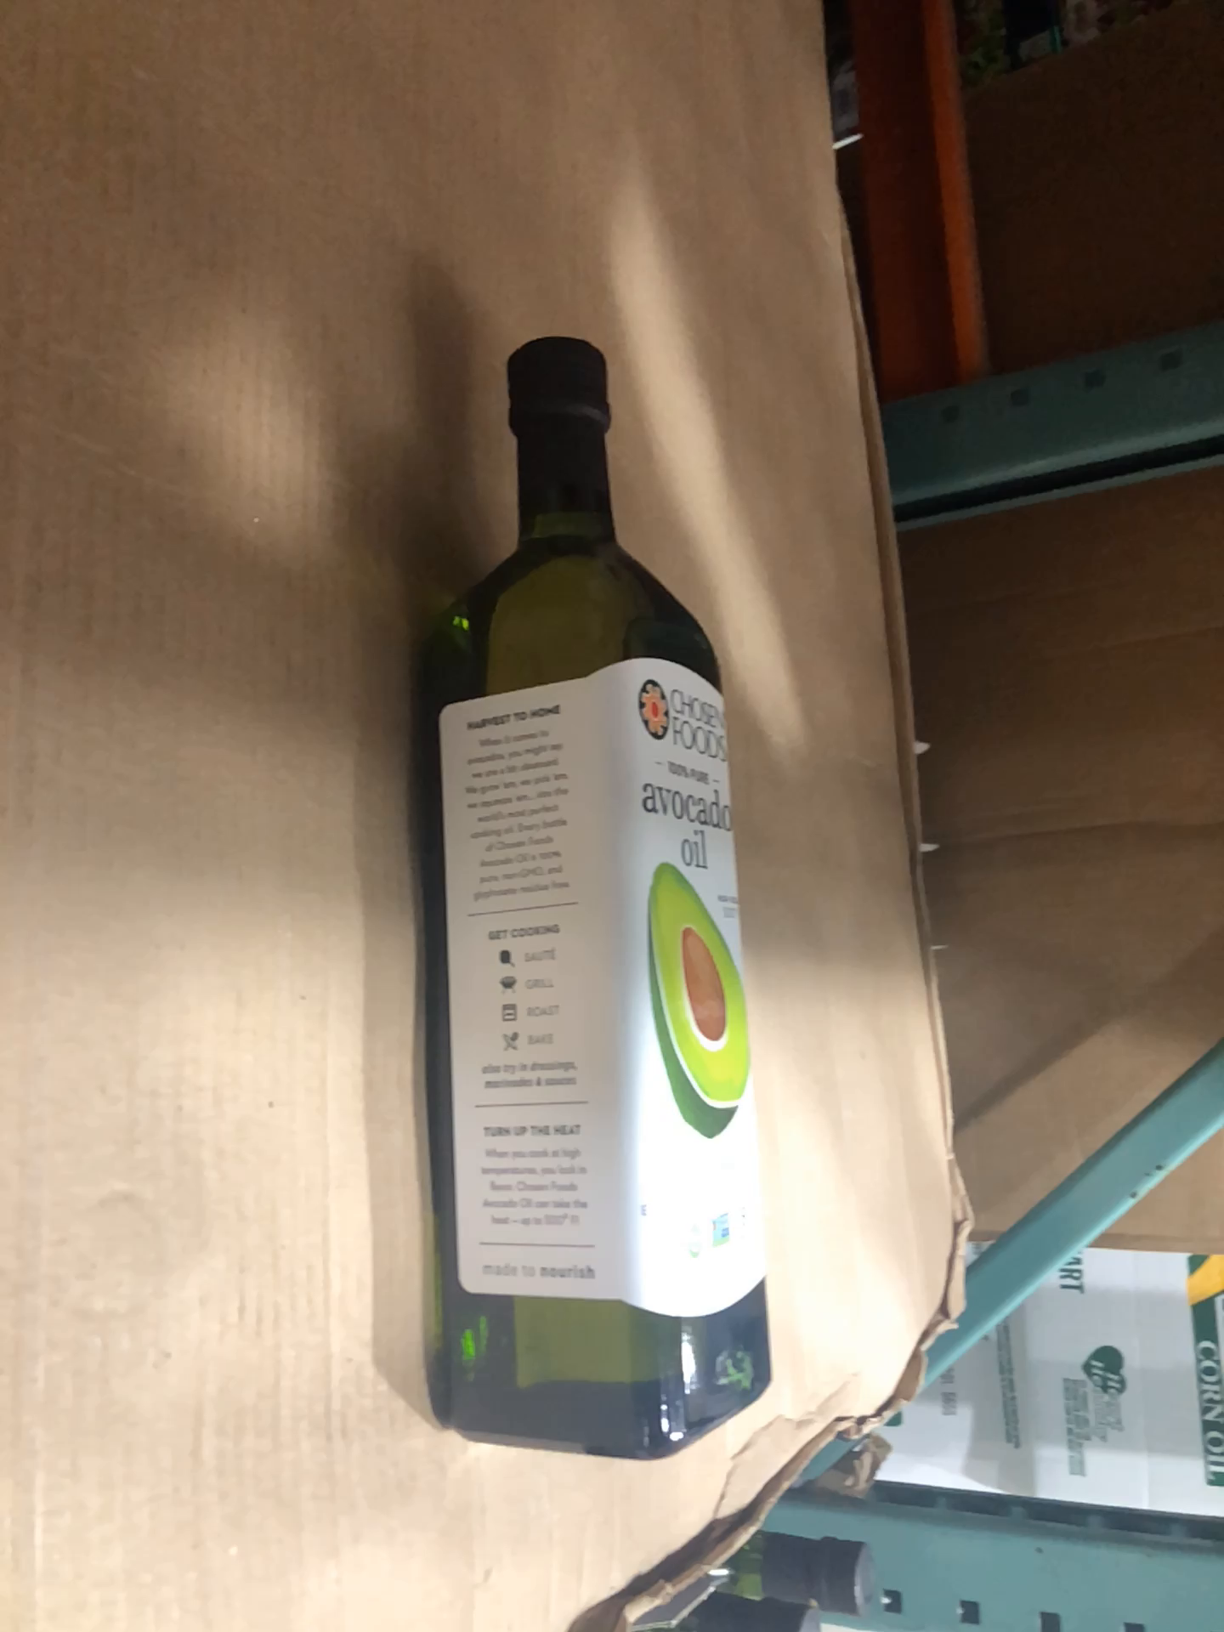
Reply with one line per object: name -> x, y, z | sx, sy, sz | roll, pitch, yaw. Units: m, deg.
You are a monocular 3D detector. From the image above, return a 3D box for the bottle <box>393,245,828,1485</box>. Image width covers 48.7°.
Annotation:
bottle -> -0.001, 0.011, 0.400 | 0.087, 0.074, 0.320 | 14, 70, -62
